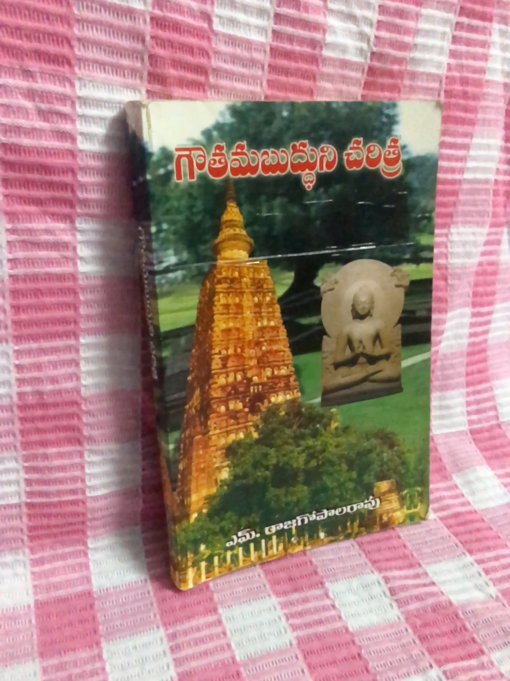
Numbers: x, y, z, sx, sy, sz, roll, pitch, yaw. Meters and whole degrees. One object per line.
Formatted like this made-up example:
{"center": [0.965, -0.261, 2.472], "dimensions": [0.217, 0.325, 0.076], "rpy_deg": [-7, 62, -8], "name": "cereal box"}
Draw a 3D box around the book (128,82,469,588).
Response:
{"center": [0.023, -0.002, 0.264], "dimensions": [0.140, 0.209, 0.030], "rpy_deg": [-7, 18, -20], "name": "book"}
